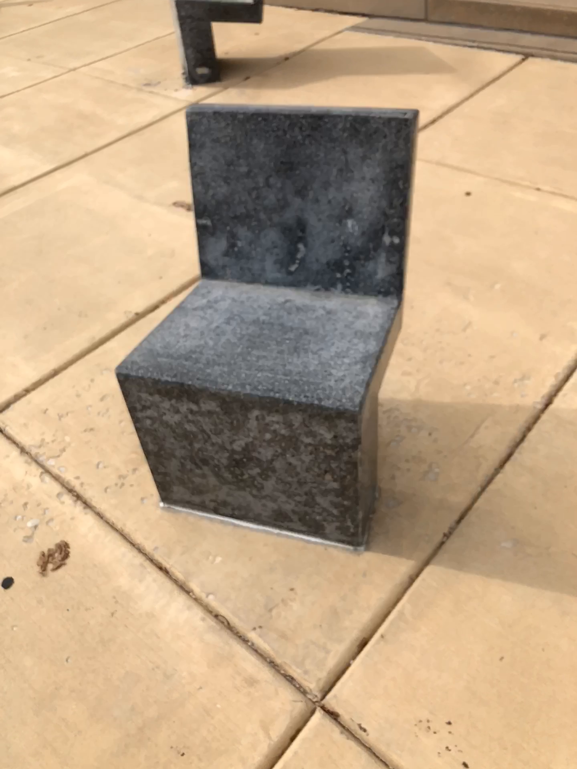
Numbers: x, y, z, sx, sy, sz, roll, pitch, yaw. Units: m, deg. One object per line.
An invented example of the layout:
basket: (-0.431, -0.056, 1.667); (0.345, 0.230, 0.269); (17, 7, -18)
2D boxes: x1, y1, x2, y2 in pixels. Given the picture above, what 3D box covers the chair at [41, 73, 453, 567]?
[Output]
chair: (-0.021, -0.155, 1.353); (0.570, 0.798, 0.561); (9, 37, 13)
